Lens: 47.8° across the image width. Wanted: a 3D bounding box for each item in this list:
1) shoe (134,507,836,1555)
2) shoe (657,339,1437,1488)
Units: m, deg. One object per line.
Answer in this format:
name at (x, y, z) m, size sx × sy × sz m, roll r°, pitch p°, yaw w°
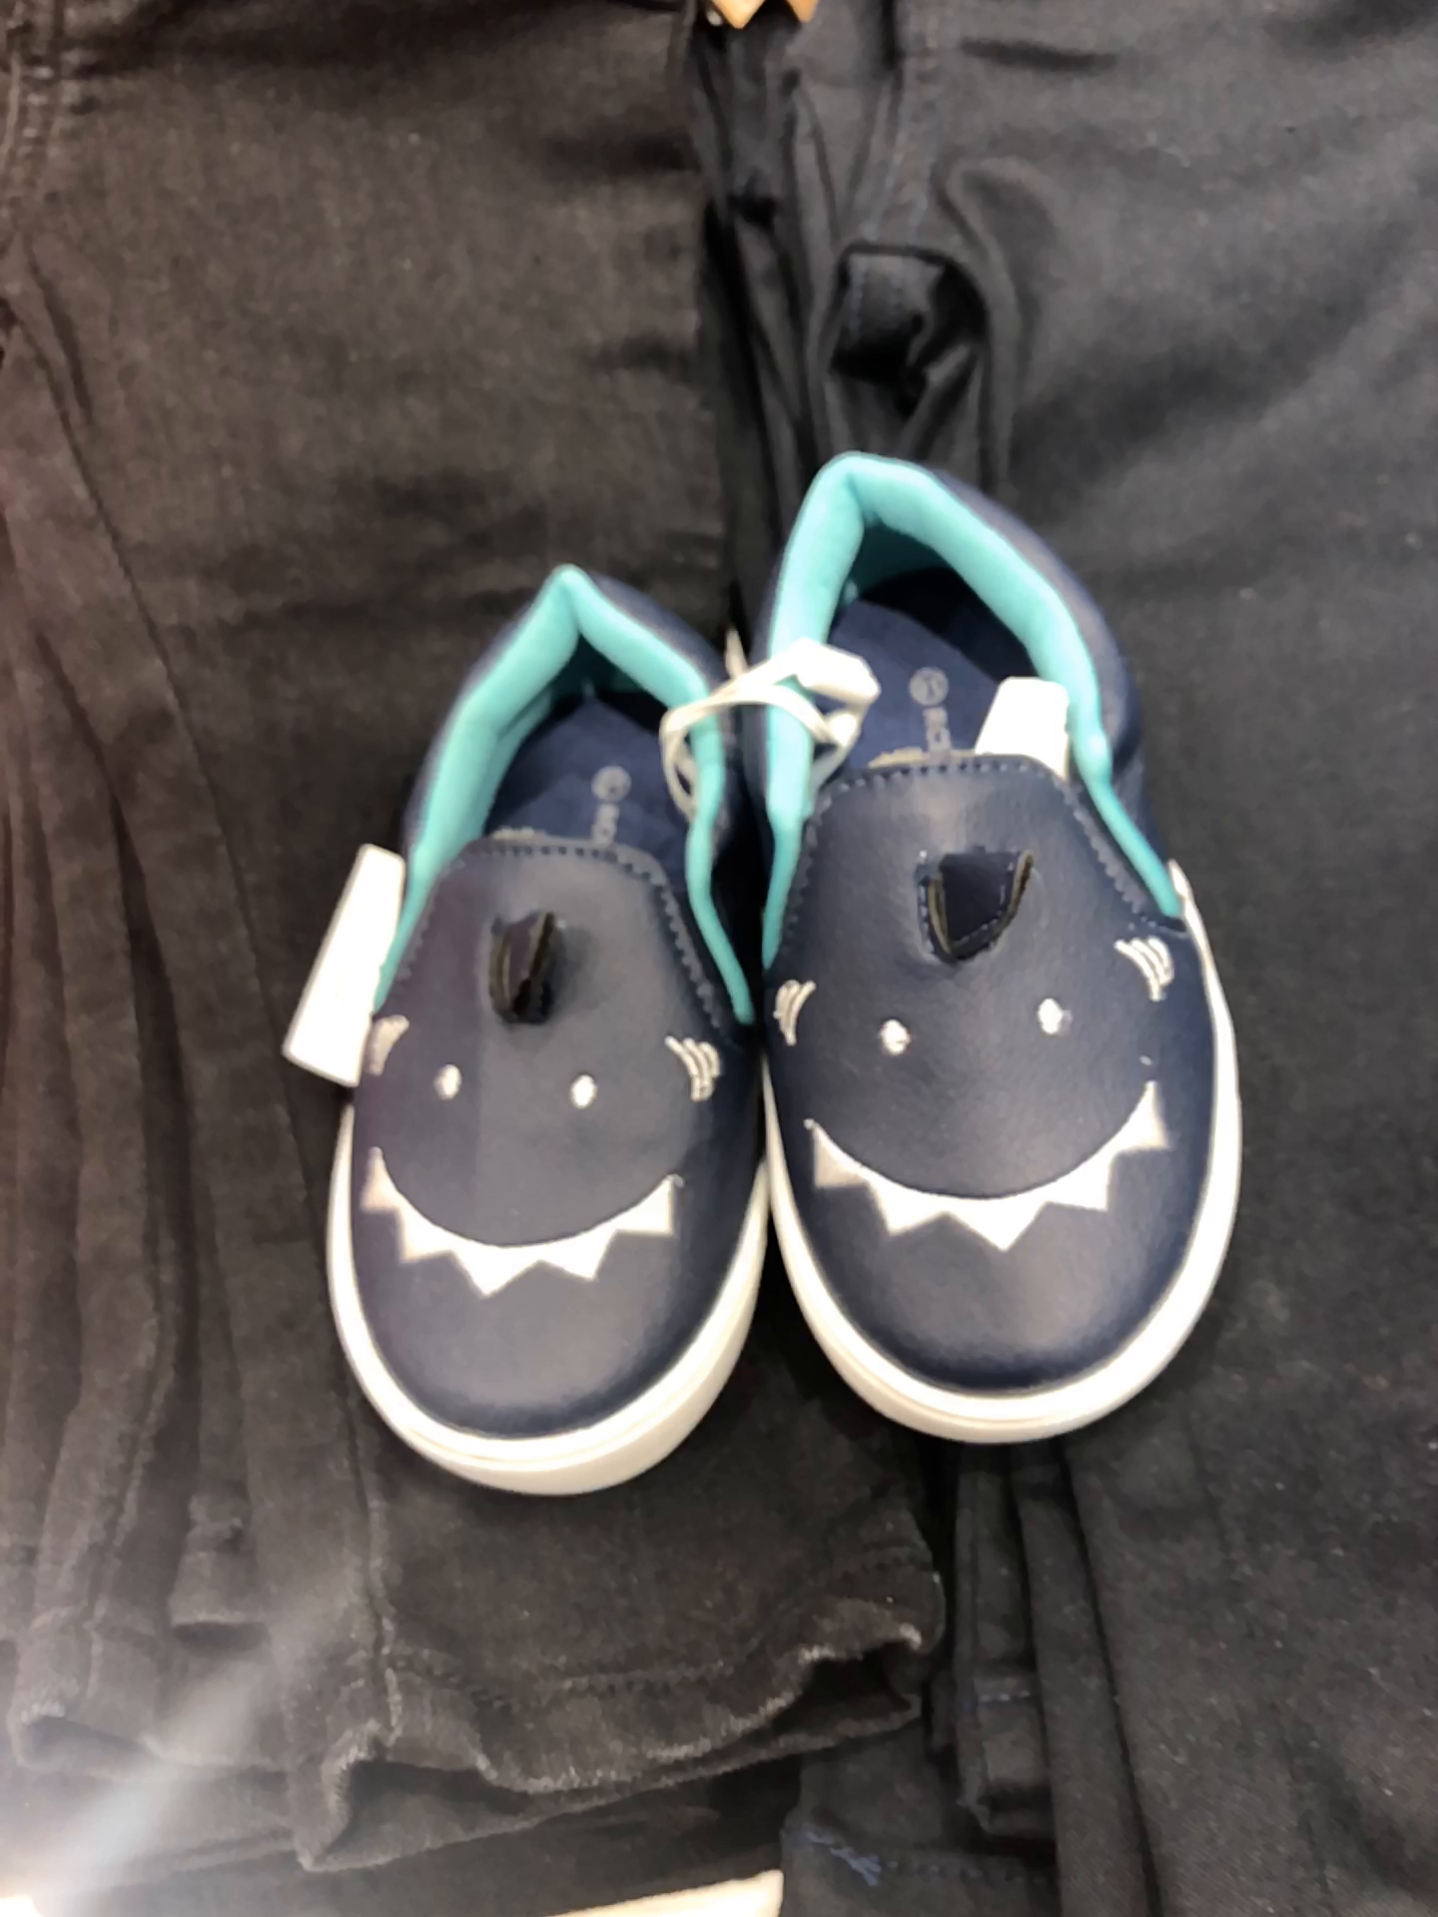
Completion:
shoe at (-0.025, 0.007, 0.249) m, size 0.080 × 0.050 × 0.151 m, roll 1°, pitch 64°, yaw 6°
shoe at (0.040, -0.010, 0.234) m, size 0.080 × 0.050 × 0.151 m, roll -8°, pitch 63°, yaw 1°
